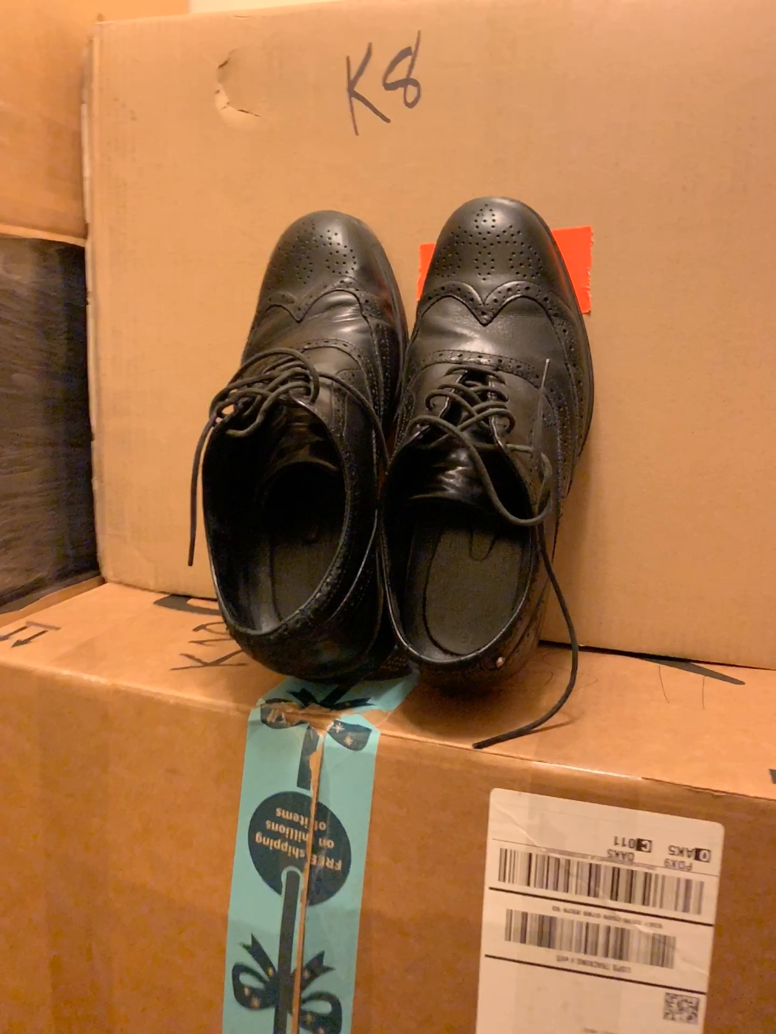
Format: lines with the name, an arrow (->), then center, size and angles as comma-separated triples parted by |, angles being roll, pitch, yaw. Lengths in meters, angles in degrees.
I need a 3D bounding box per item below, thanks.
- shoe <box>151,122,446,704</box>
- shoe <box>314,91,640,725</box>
shoe -> -0.046, -0.049, 0.442 | 0.120, 0.281, 0.100 | -6, -8, 12
shoe -> 0.051, -0.053, 0.410 | 0.120, 0.280, 0.100 | 5, -4, 14
